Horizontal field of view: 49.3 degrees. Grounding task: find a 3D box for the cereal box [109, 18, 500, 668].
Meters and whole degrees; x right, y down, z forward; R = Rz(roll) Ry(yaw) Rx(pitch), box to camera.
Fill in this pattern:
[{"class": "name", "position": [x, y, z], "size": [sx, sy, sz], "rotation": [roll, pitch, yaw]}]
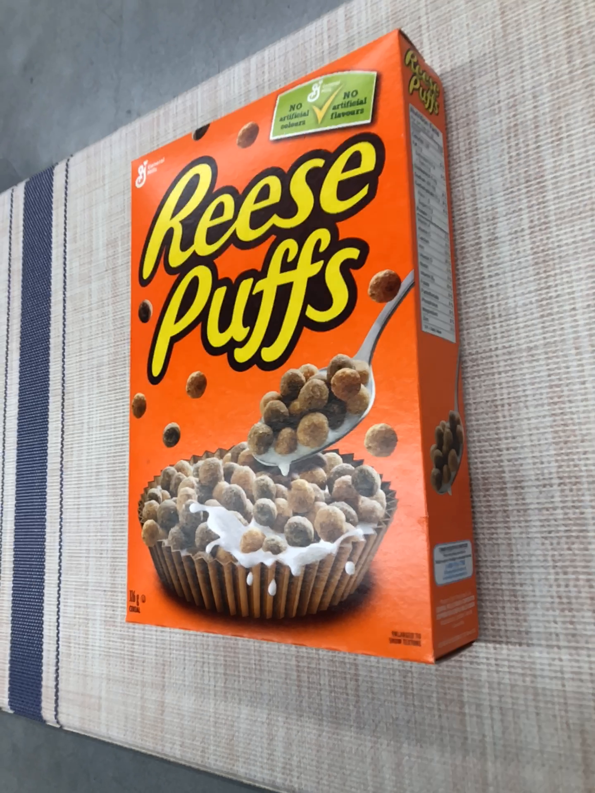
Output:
[{"class": "cereal box", "position": [-0.011, -0.019, 0.353], "size": [0.201, 0.060, 0.280], "rotation": [-8, 81, 33]}]
